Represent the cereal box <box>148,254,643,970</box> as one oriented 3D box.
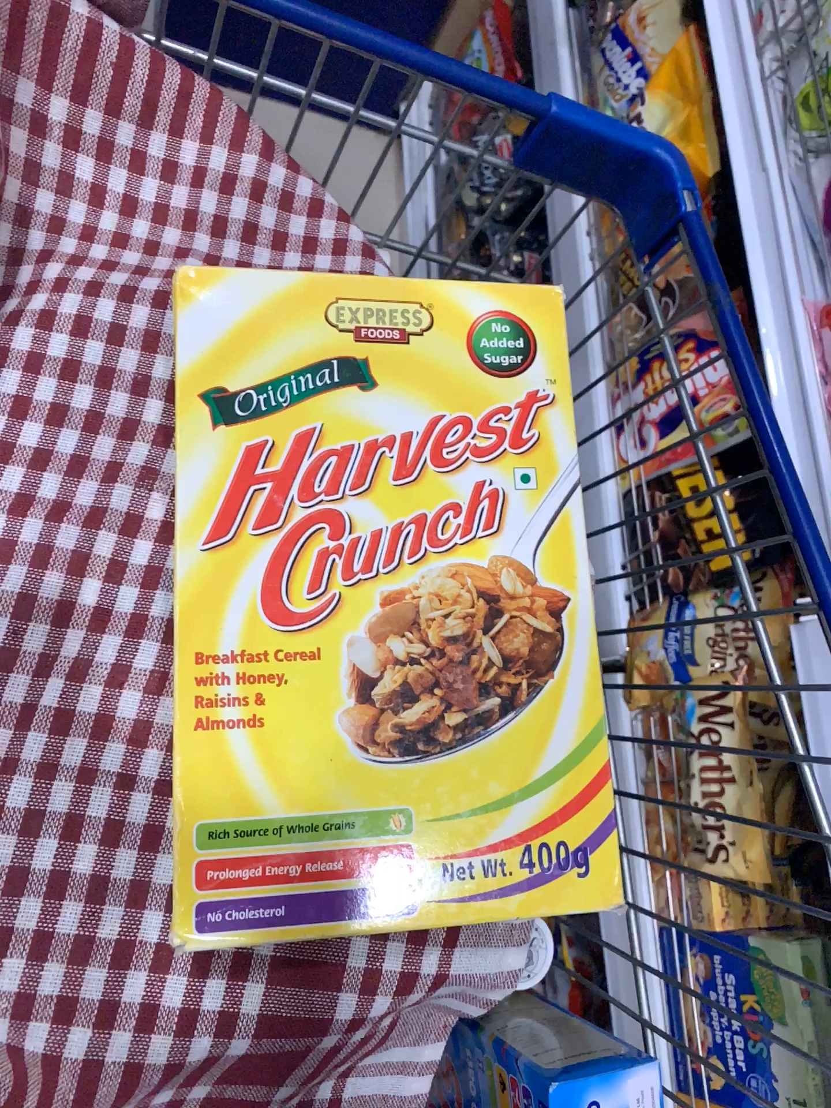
[{"bbox_3d":[-0.011,0.014,0.300,0.150,0.050,0.220,0,80,-10],"label":"cereal box"}]
